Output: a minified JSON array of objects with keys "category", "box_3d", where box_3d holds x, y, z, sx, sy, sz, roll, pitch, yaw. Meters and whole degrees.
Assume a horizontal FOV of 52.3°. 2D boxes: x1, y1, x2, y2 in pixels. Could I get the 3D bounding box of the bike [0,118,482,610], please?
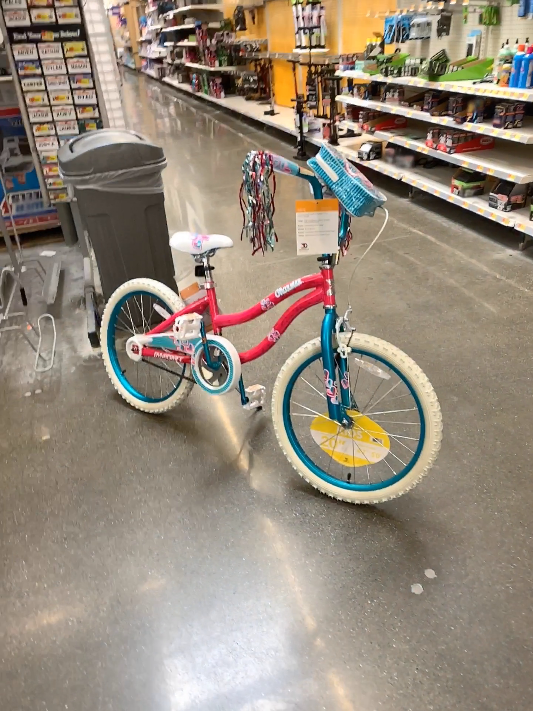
[{"category":"bike","box_3d":[-0.075,-0.119,1.693,1.262,0.929,0.656,18,36,28]}]
